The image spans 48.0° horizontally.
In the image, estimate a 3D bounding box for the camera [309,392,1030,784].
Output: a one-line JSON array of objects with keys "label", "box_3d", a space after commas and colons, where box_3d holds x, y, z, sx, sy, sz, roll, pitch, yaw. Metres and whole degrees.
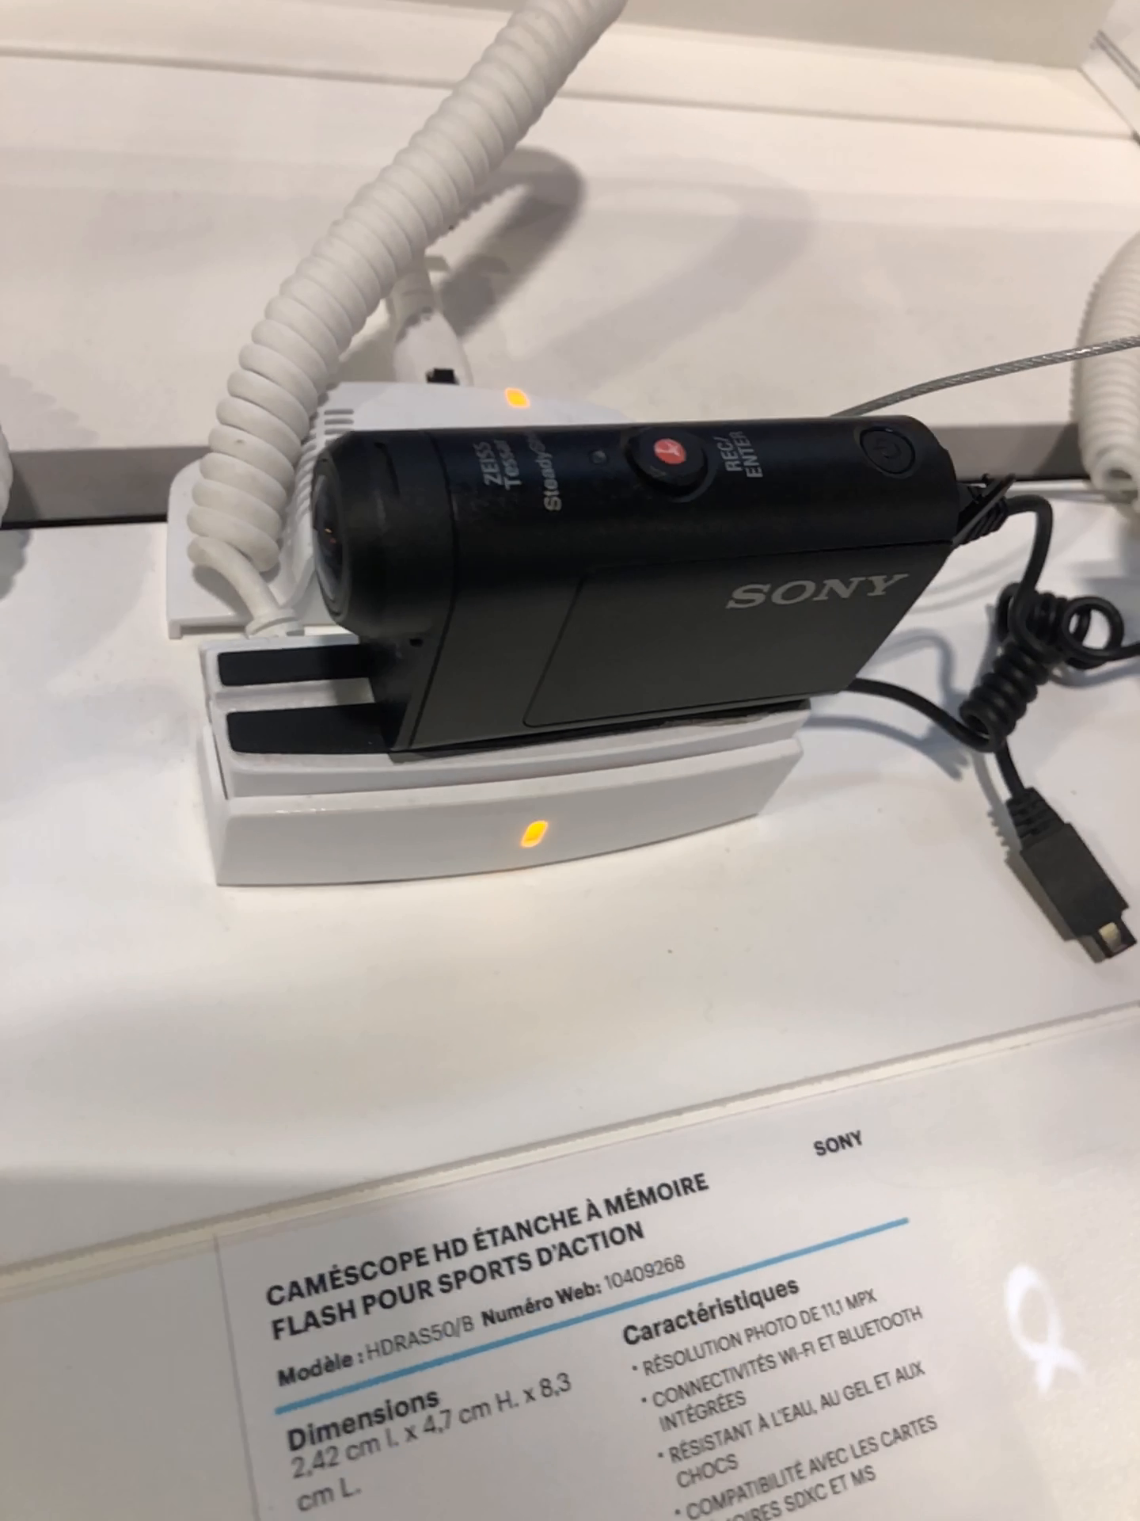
[{"label": "camera", "box_3d": [0.010, -0.022, 0.163, 0.080, 0.045, 0.020, -7, 57, -21]}]
